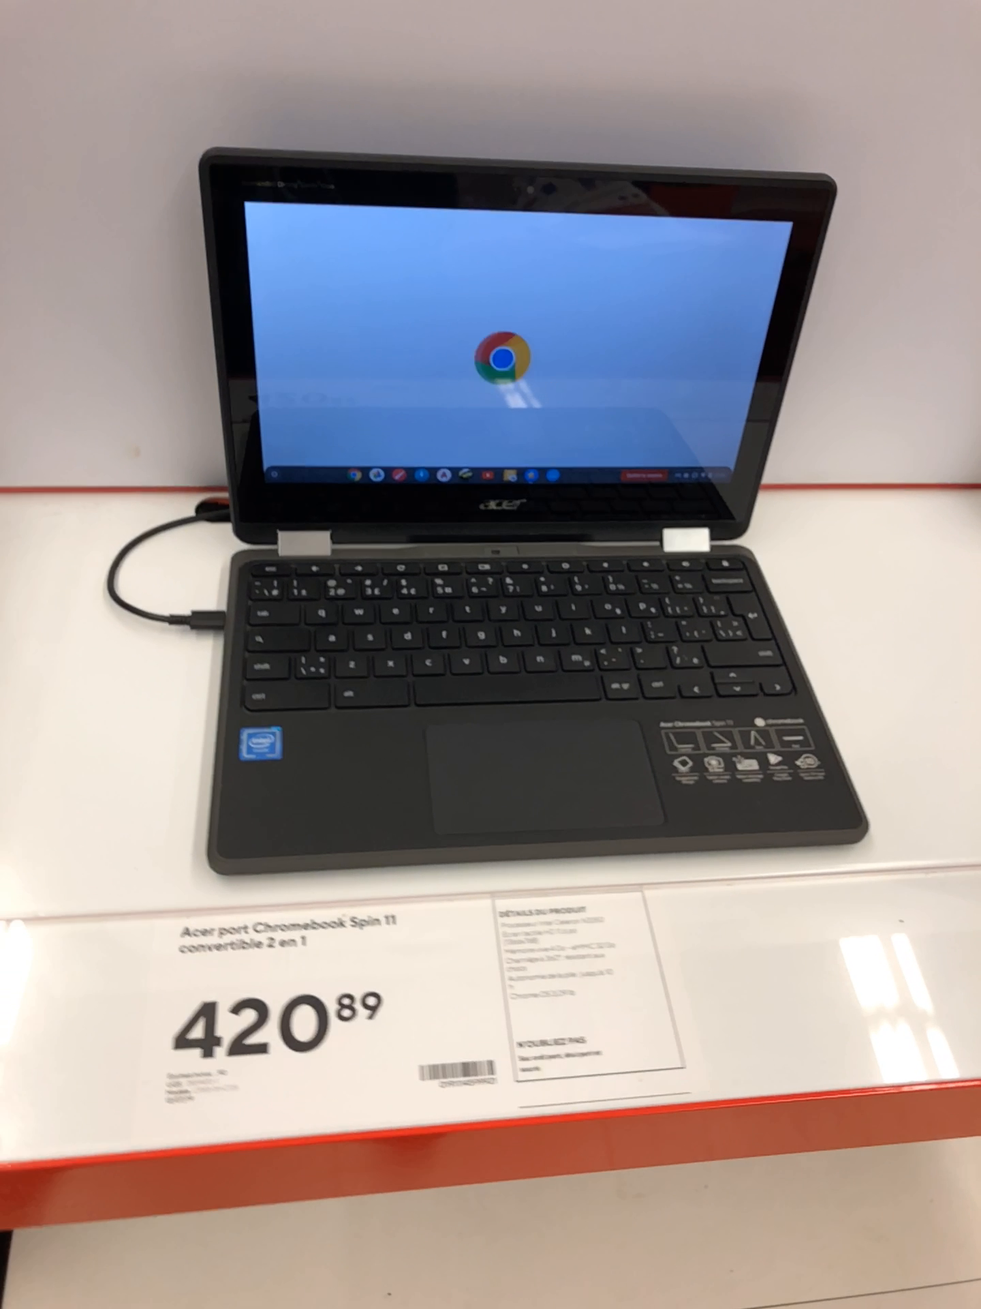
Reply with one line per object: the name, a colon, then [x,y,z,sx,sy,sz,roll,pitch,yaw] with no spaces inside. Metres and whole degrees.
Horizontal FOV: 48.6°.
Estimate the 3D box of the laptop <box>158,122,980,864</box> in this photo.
laptop: [0.020,-0.078,0.495,0.289,0.198,0.253,-2,48,-8]
